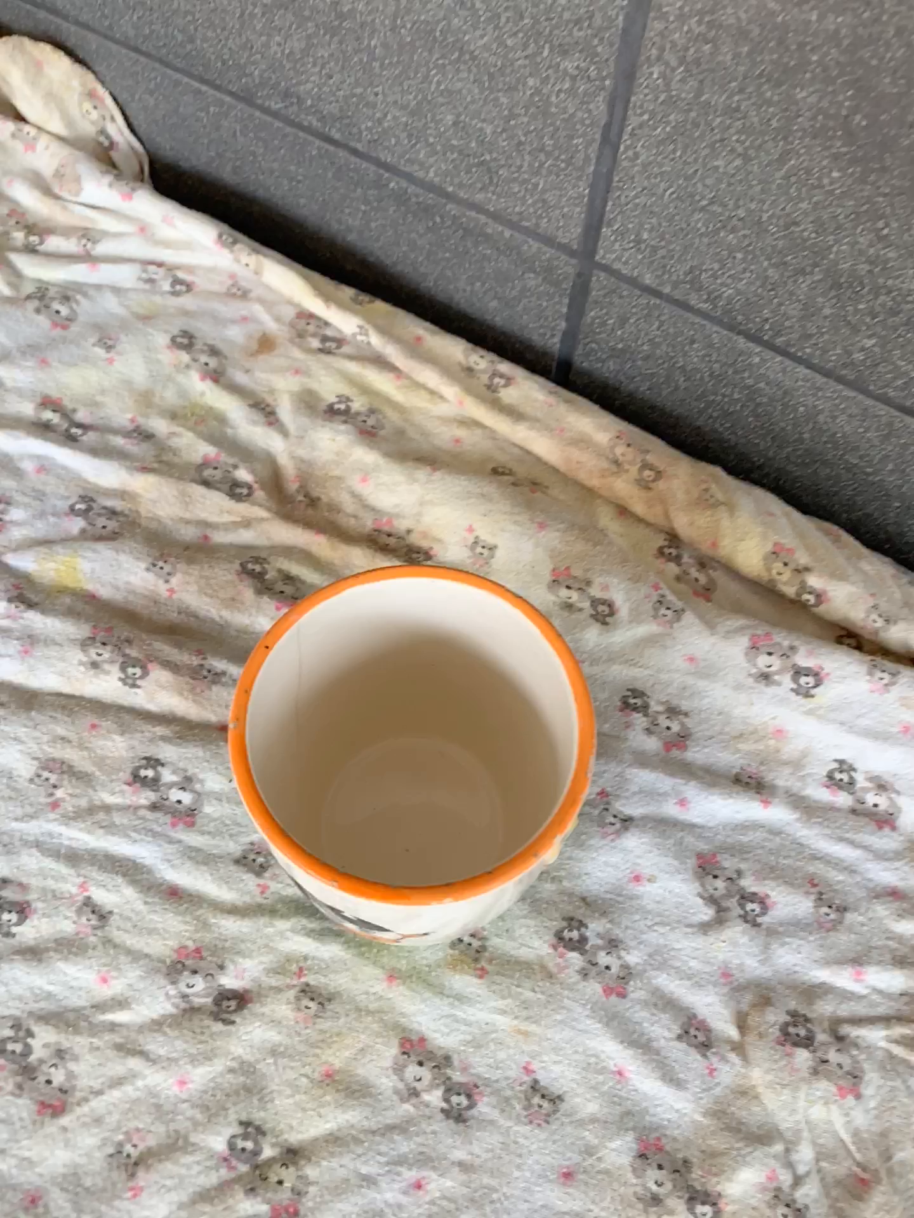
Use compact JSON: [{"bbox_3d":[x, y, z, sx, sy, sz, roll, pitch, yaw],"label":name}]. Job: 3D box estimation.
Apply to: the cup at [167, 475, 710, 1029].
[{"bbox_3d":[-0.007,0.039,0.232,0.080,0.090,0.080,1,61,-3],"label":"cup"}]
